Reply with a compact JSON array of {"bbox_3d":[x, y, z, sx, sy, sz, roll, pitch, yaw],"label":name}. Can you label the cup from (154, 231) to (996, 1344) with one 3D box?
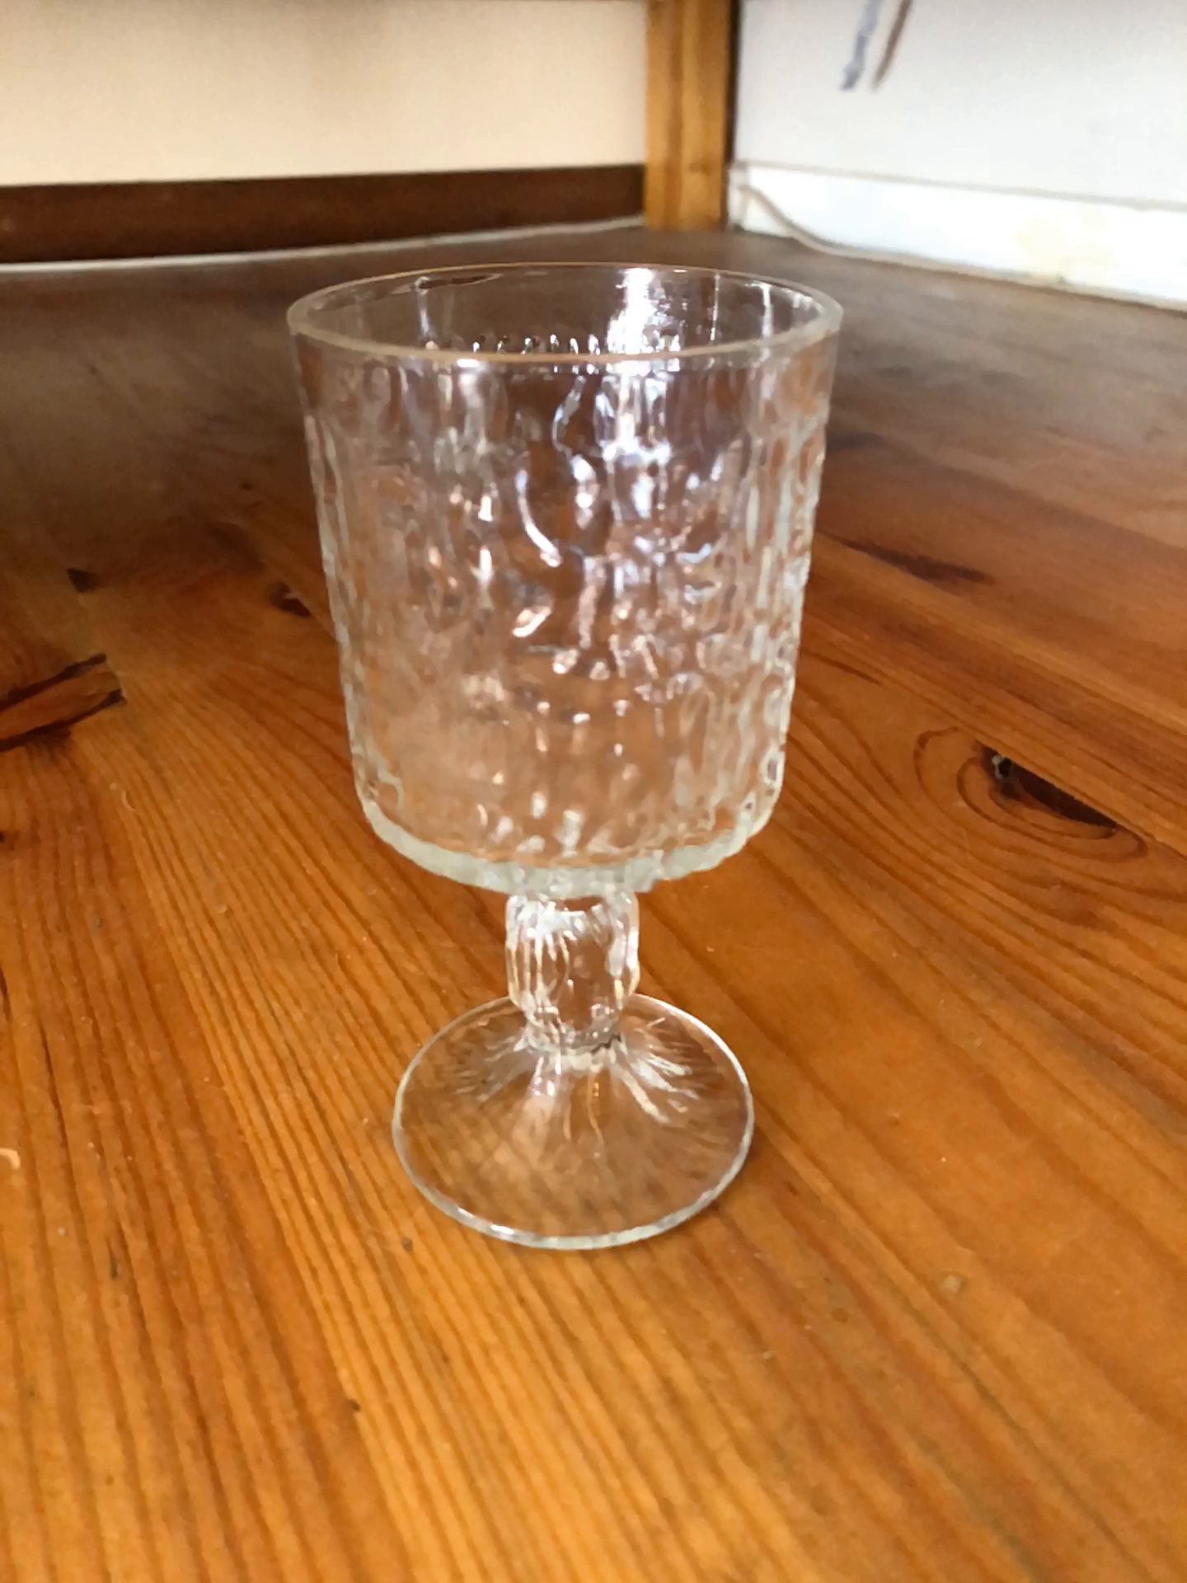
[{"bbox_3d":[-0.007,-0.008,0.201,0.082,0.134,0.081,0,28,0],"label":"cup"}]
